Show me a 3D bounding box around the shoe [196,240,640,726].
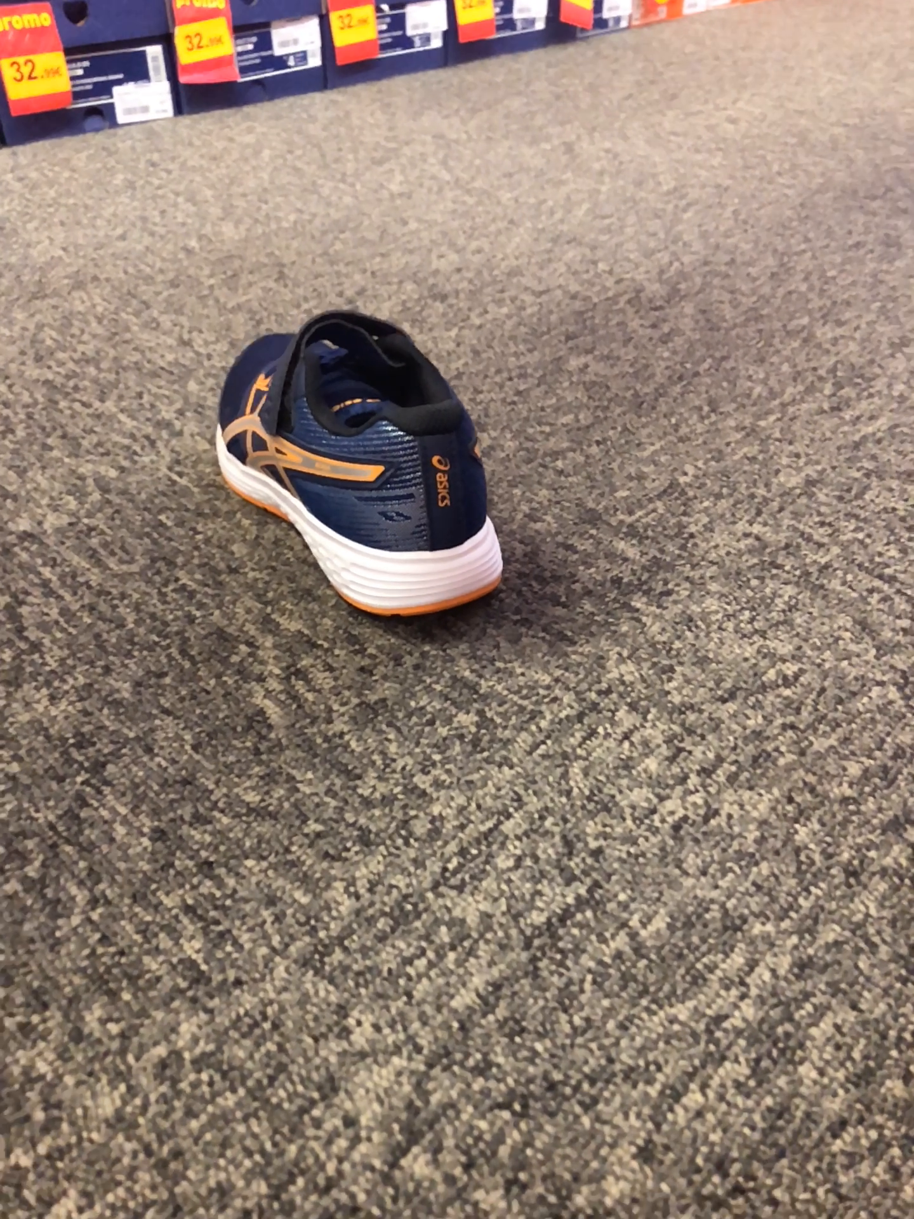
[{"bbox_3d":[-0.030,-0.073,0.447,0.090,0.099,0.236,-18,41,-21],"label":"shoe"}]
